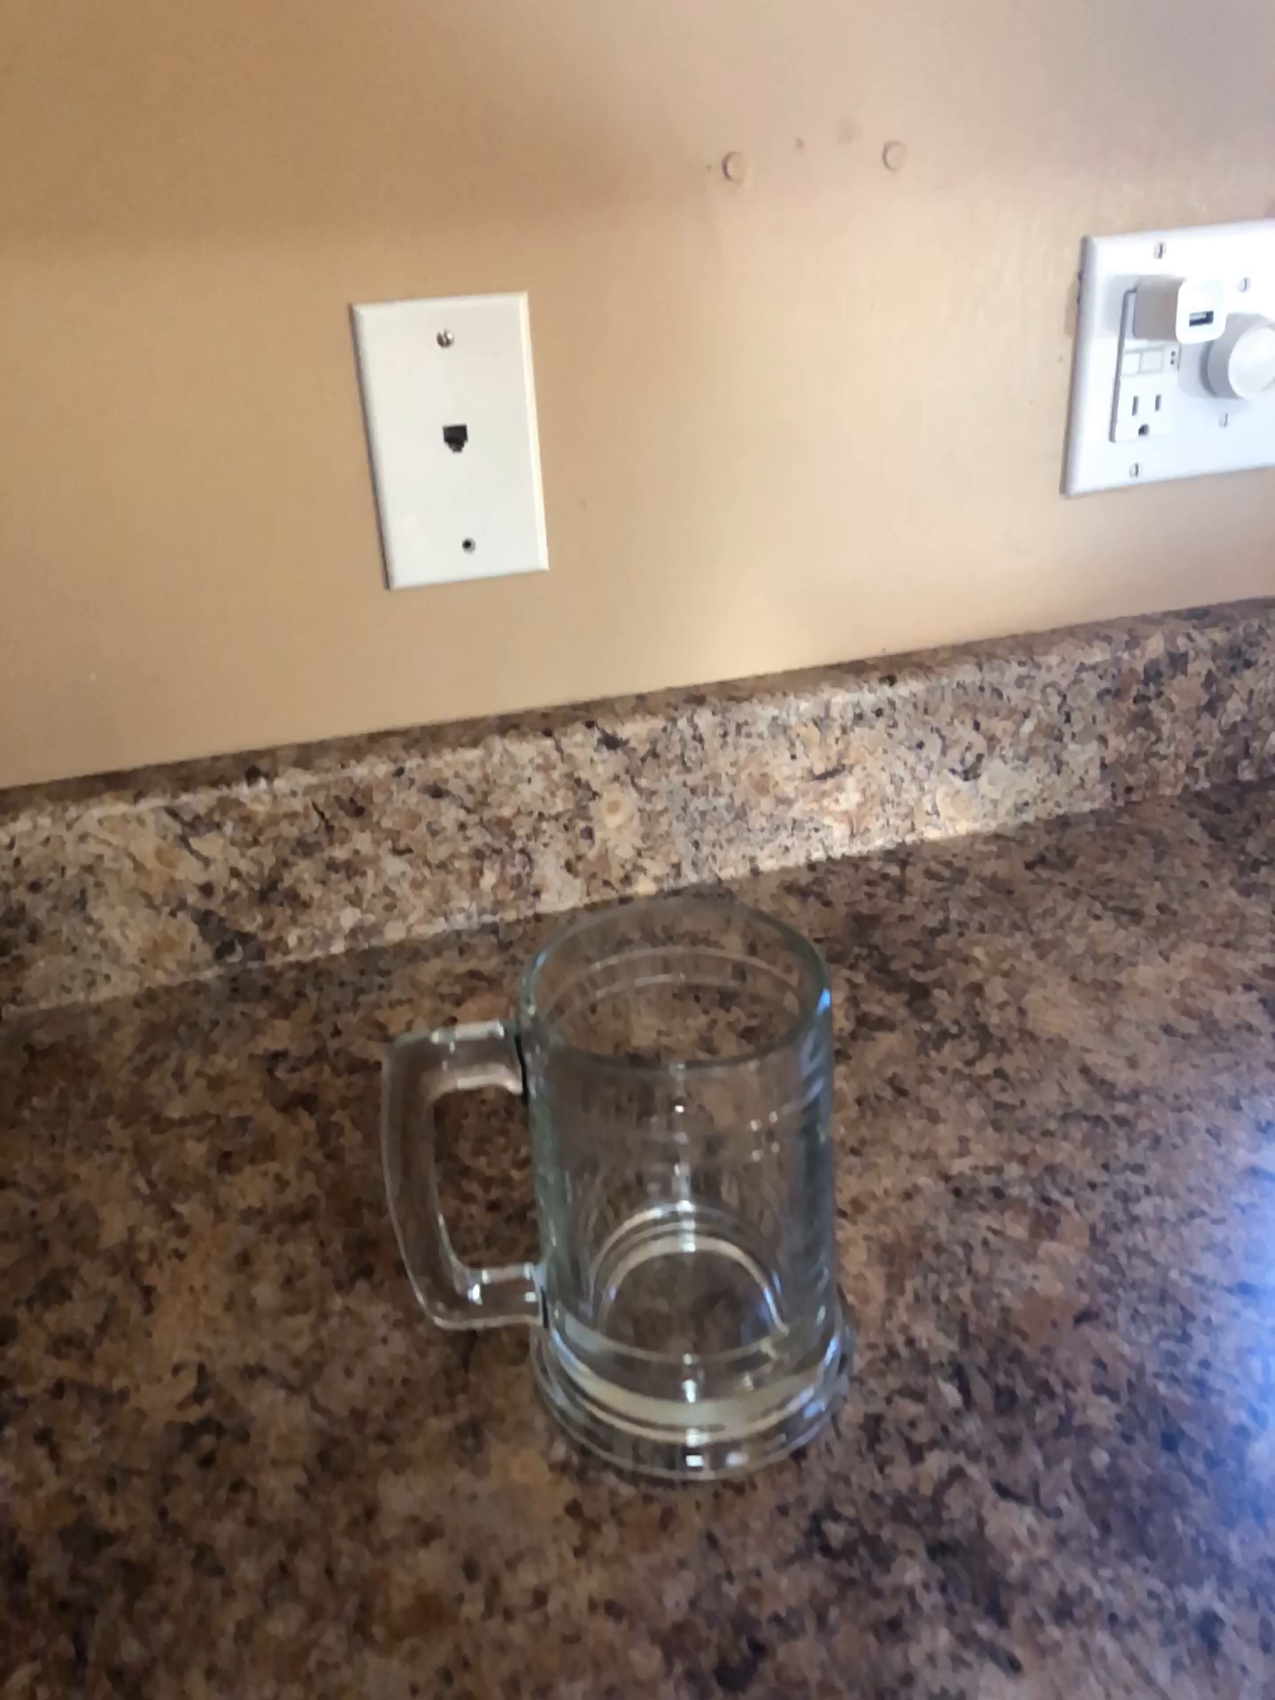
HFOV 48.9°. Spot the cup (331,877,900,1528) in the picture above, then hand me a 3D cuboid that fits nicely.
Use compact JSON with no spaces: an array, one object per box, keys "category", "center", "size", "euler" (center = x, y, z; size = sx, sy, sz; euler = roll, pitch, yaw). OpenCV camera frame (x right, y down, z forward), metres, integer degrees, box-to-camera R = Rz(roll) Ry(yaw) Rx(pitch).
[{"category":"cup","center":[-0.004,0.097,0.396],"size":[0.130,0.139,0.100],"euler":[-3,28,-1]}]
